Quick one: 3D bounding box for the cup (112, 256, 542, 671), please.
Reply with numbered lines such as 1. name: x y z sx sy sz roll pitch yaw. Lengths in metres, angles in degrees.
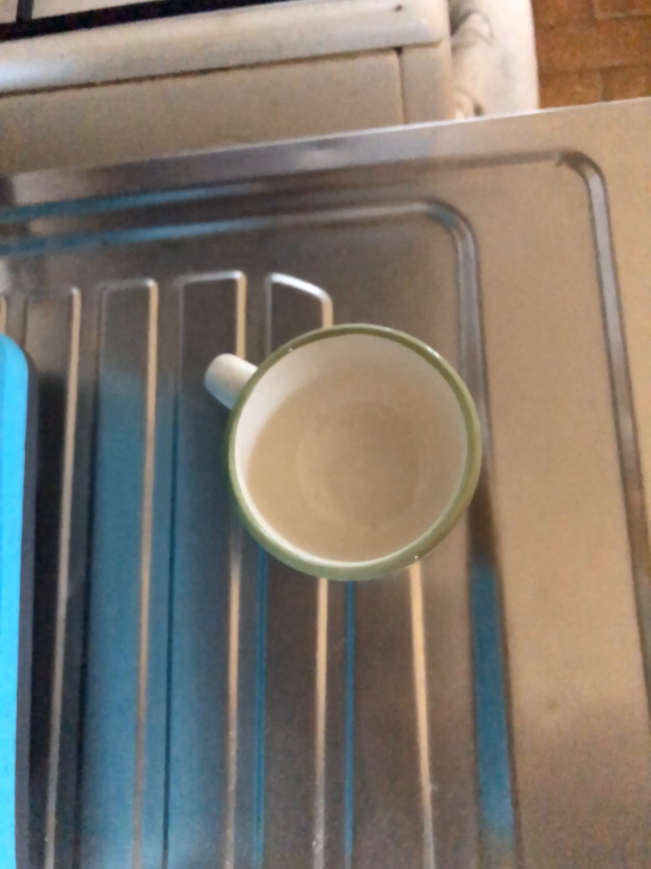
1. cup: 0.002 0.011 0.269 0.110 0.060 0.090 37 85 15
